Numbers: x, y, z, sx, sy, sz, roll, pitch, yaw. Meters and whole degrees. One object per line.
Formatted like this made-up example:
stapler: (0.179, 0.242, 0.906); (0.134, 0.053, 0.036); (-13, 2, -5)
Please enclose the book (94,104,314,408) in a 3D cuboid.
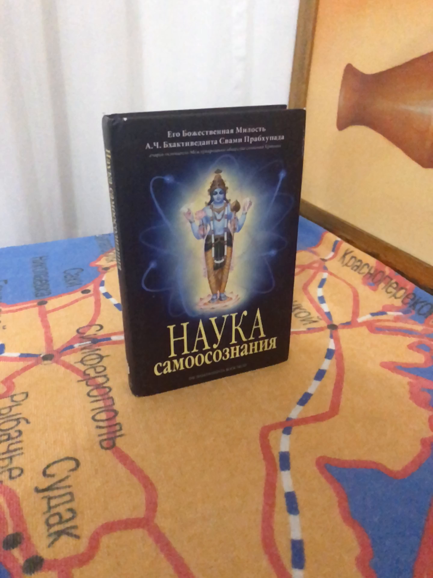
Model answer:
book: (-0.004, -0.022, 0.351); (0.140, 0.205, 0.030); (-10, 27, -19)
